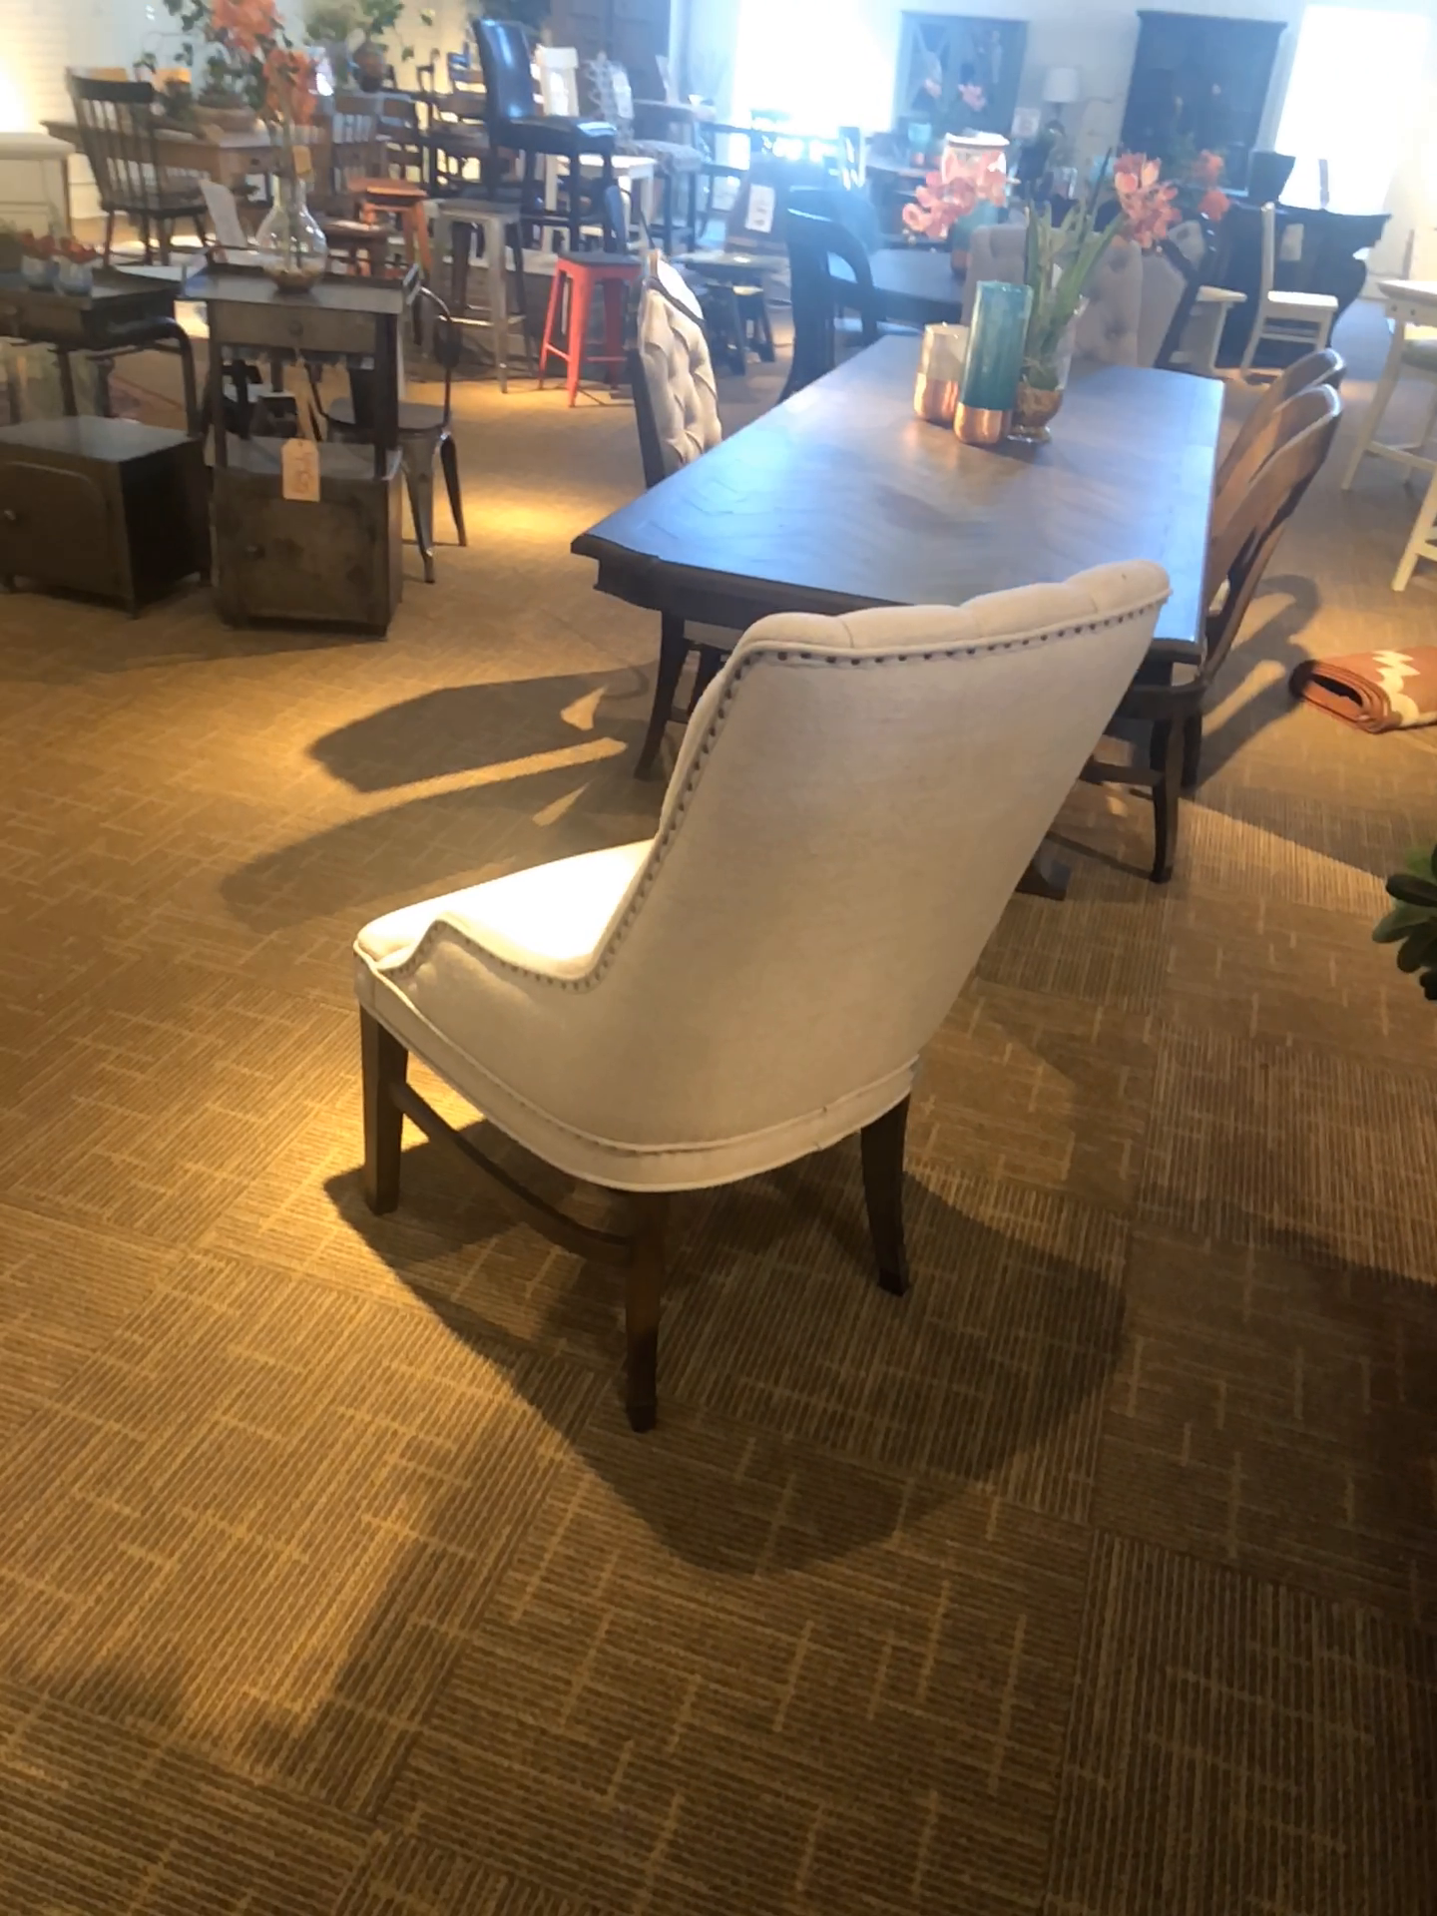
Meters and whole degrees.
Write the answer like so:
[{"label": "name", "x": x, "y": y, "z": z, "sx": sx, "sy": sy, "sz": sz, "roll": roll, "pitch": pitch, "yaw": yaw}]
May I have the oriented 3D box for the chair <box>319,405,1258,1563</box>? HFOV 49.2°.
[{"label": "chair", "x": 0.004, "y": -0.038, "z": 1.864, "sx": 0.642, "sy": 1.015, "sz": 0.762, "roll": -16, "pitch": 36, "yaw": -33}]
